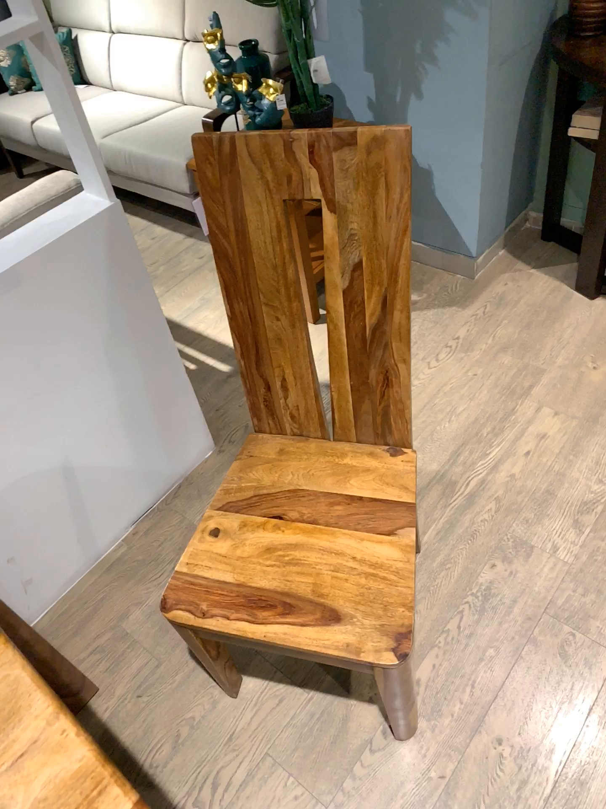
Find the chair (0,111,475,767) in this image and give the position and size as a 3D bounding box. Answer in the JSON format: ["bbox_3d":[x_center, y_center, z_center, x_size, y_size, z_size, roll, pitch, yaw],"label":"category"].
[{"bbox_3d":[0.008,0.124,1.079,0.500,0.966,0.602,3,48,15],"label":"chair"}]
